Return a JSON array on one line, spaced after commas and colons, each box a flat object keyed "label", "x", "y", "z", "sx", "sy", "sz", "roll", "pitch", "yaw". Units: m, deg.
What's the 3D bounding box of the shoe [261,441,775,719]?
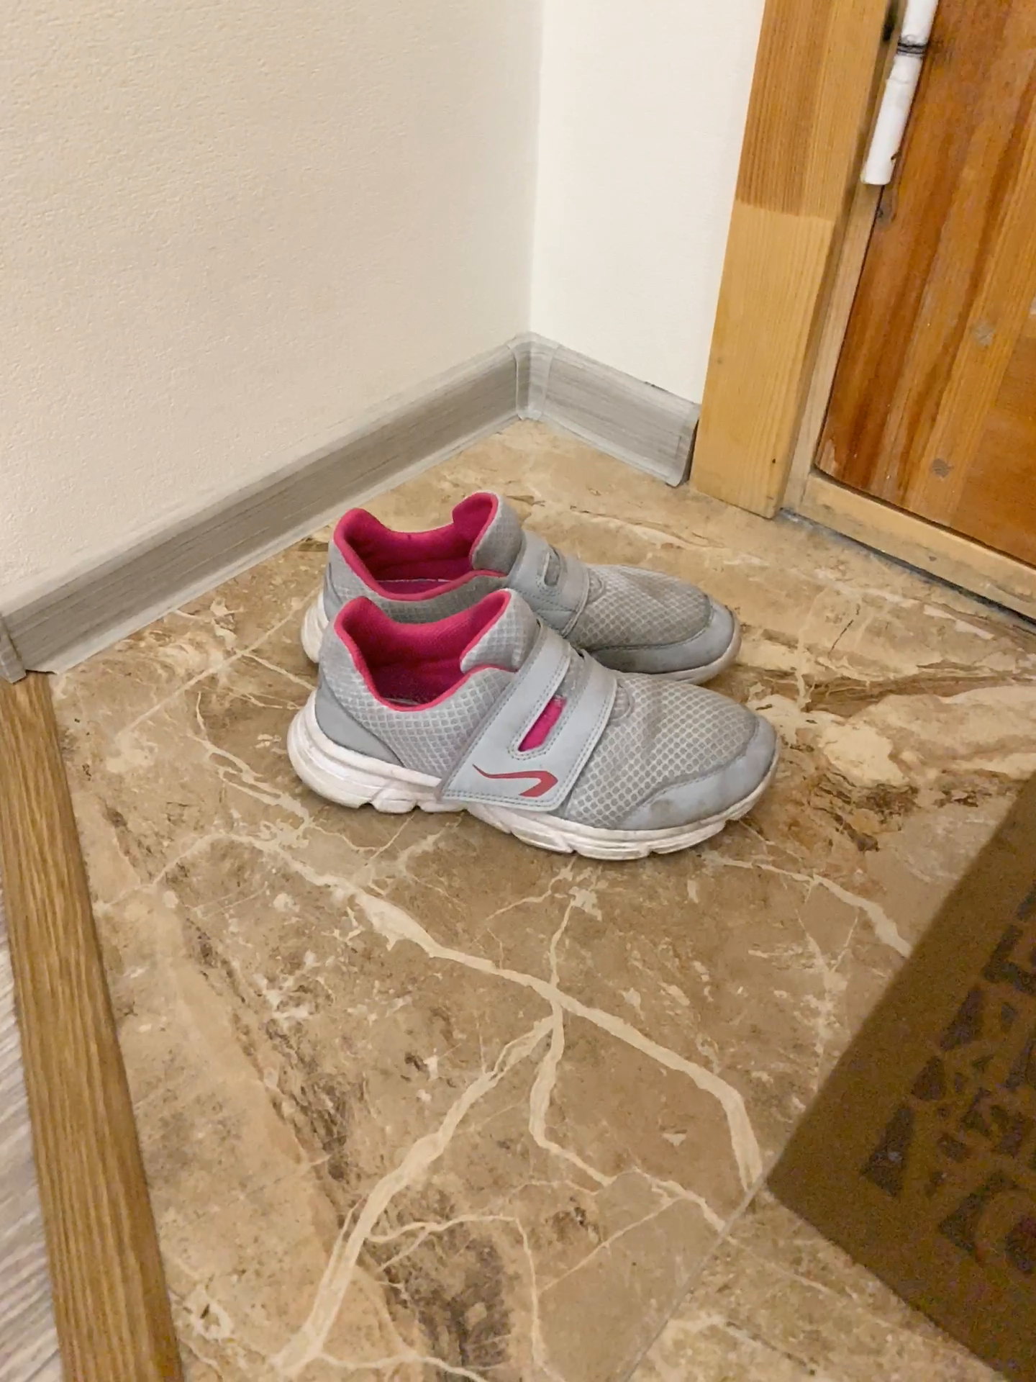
[{"label": "shoe", "x": 0.000, "y": -0.062, "z": 0.587, "sx": 0.250, "sy": 0.099, "sz": 0.101, "roll": 3, "pitch": 43, "yaw": 1}]

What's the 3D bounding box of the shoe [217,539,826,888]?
[{"label": "shoe", "x": 0.004, "y": 0.009, "z": 0.519, "sx": 0.260, "sy": 0.099, "sz": 0.101, "roll": 7, "pitch": 43, "yaw": 4}]
